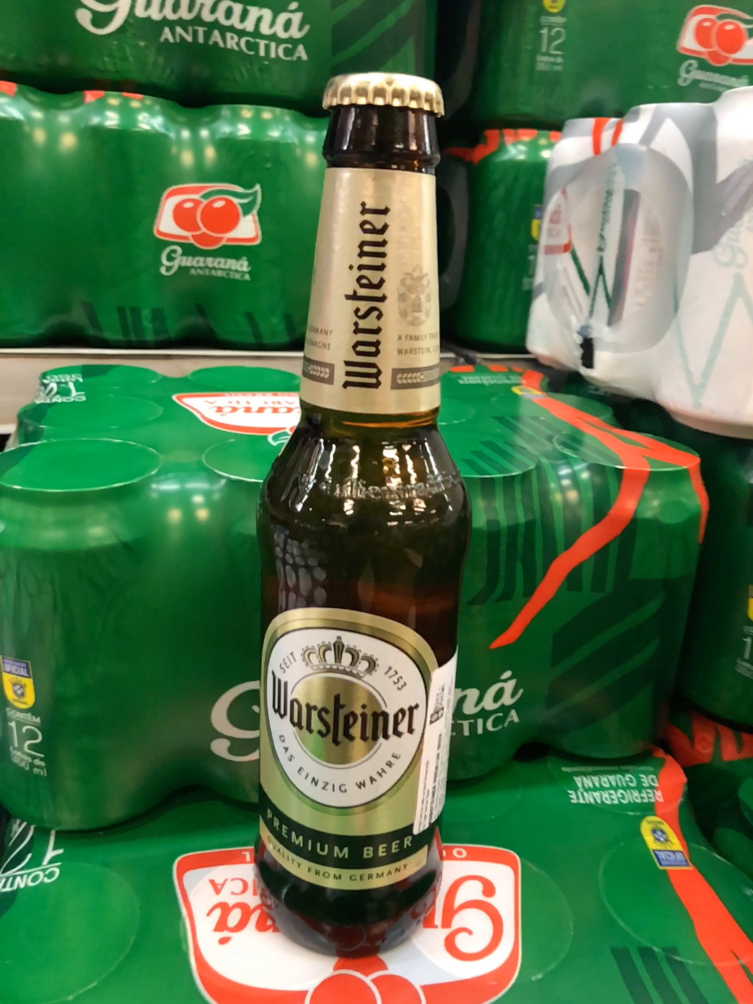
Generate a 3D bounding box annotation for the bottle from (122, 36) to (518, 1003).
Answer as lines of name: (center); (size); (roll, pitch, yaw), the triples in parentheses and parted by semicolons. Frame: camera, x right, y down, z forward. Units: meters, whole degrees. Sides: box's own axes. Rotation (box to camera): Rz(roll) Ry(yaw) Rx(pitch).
bottle: (-0.014, 0.012, 0.220); (0.070, 0.229, 0.060); (8, 20, 15)
